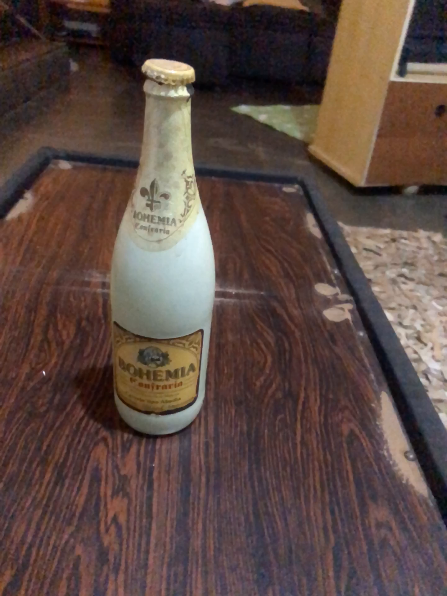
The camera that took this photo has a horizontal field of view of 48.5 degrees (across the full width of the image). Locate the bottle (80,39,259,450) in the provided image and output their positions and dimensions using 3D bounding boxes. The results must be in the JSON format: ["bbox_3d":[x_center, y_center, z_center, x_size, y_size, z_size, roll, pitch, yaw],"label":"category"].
[{"bbox_3d":[-0.034,-0.022,0.324,0.080,0.248,0.081,5,32,-3],"label":"bottle"}]
